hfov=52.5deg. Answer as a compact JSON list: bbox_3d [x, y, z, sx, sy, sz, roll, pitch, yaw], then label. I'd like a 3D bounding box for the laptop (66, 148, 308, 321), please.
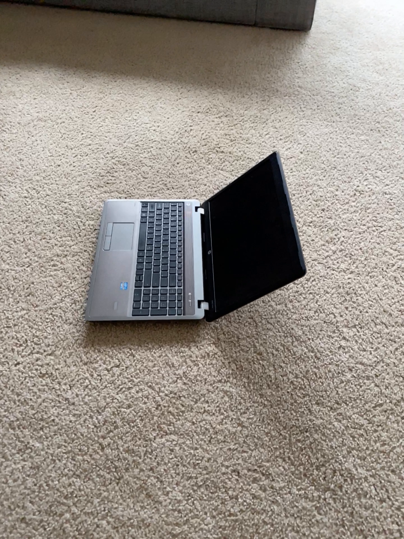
[{"bbox_3d":[-0.034,-0.092,0.917,0.435,0.162,0.376,-1,51,-3],"label":"laptop"}]
